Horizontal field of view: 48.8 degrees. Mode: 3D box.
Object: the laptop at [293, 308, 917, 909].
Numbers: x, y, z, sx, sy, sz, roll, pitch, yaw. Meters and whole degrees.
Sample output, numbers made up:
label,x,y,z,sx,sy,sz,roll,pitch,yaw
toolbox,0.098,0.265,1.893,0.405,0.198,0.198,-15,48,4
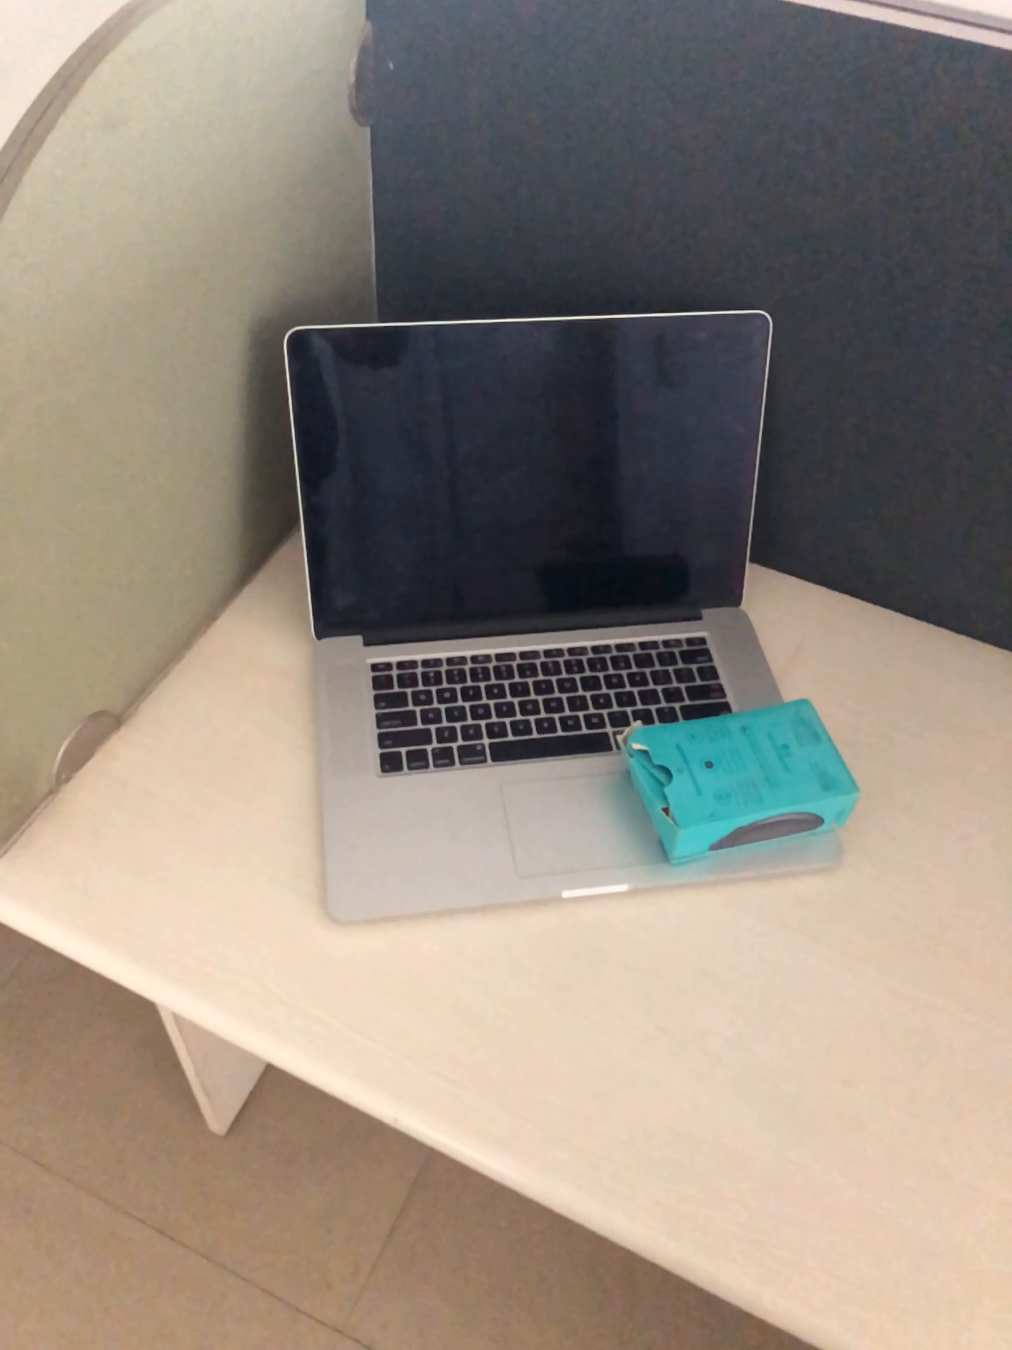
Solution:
label,x,y,z,sx,sy,sz,roll,pitch,yaw
laptop,0.033,-0.059,0.770,0.328,0.200,0.340,-4,51,-7
